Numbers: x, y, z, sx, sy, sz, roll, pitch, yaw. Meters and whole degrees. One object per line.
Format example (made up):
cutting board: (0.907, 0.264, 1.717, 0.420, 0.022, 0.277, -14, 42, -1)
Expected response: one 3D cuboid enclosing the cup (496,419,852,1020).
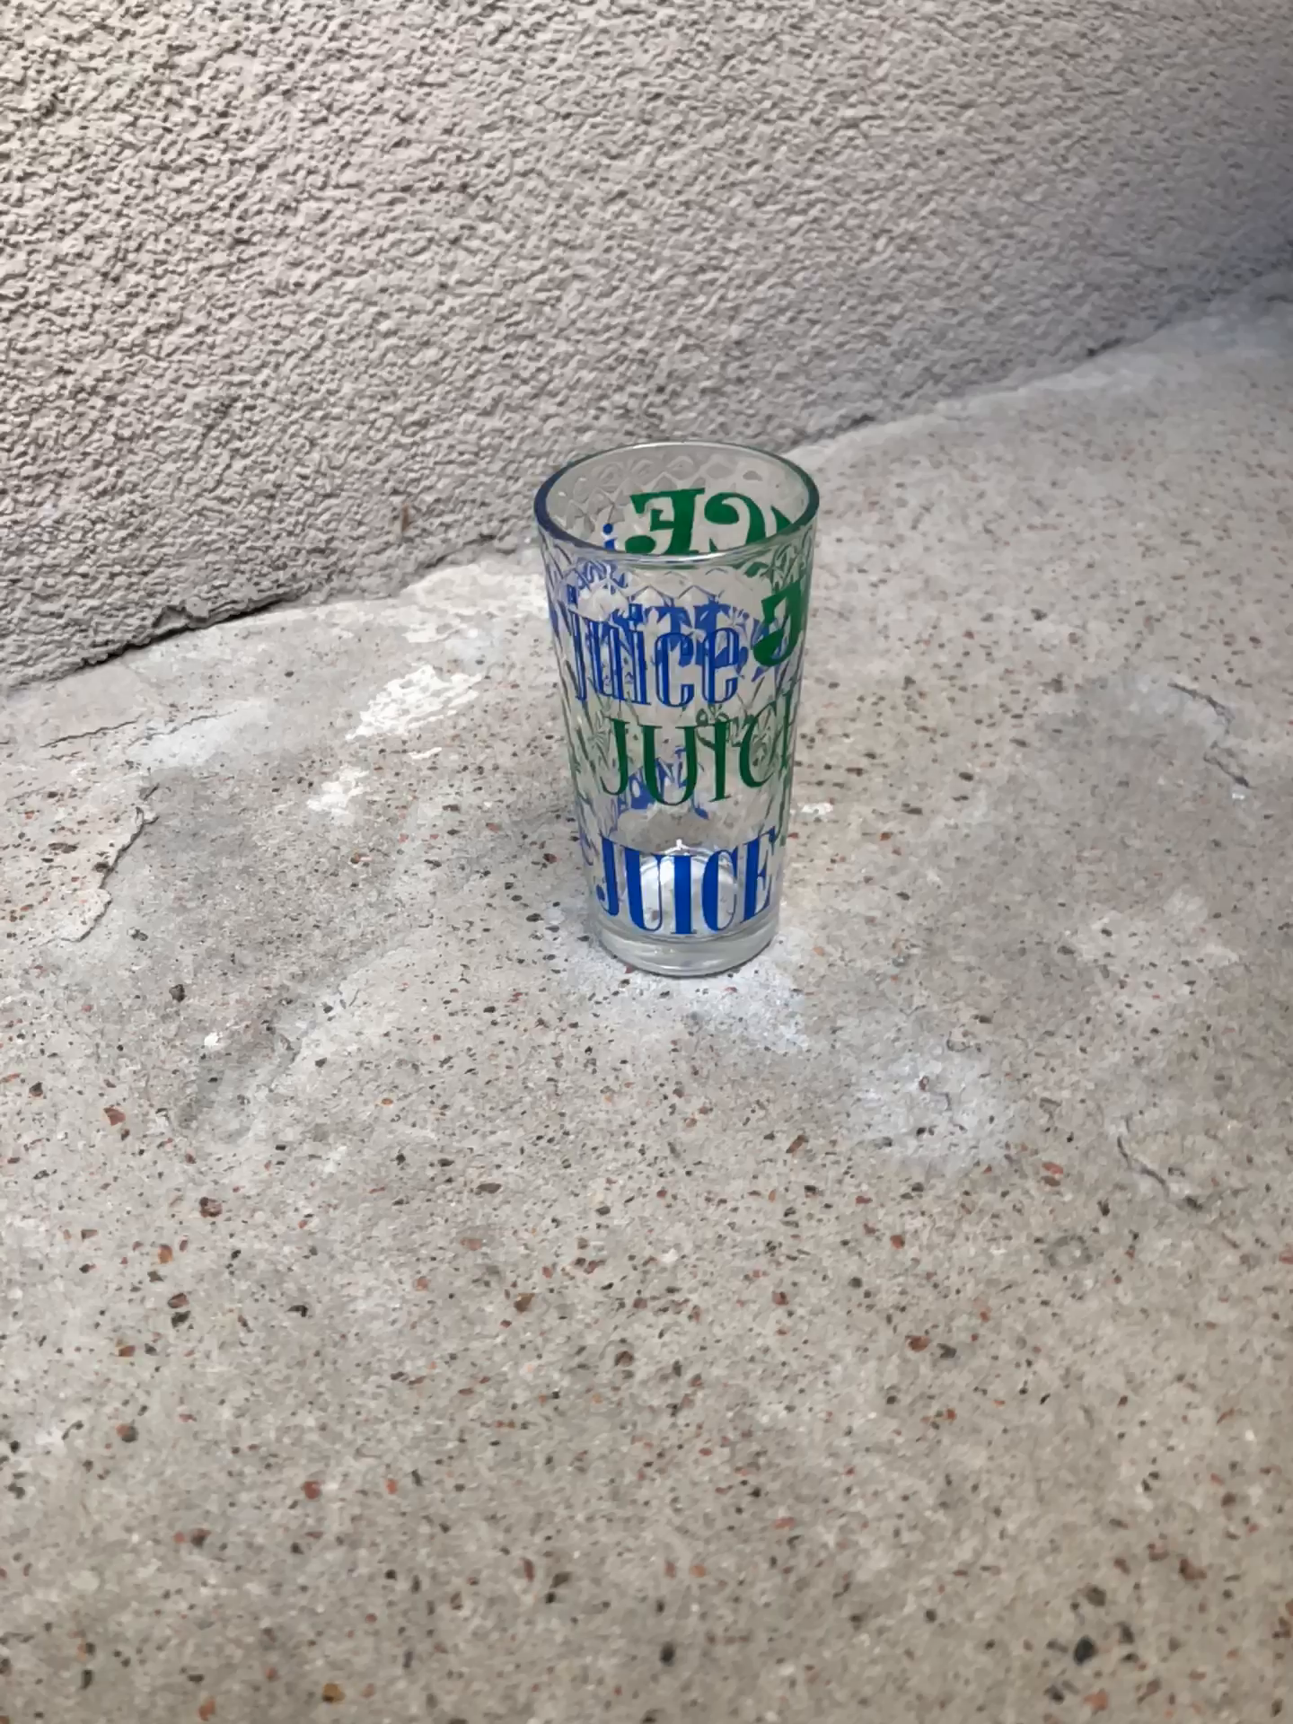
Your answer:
cup: (0.010, -0.035, 0.355, 0.066, 0.125, 0.067, -1, 36, 1)
